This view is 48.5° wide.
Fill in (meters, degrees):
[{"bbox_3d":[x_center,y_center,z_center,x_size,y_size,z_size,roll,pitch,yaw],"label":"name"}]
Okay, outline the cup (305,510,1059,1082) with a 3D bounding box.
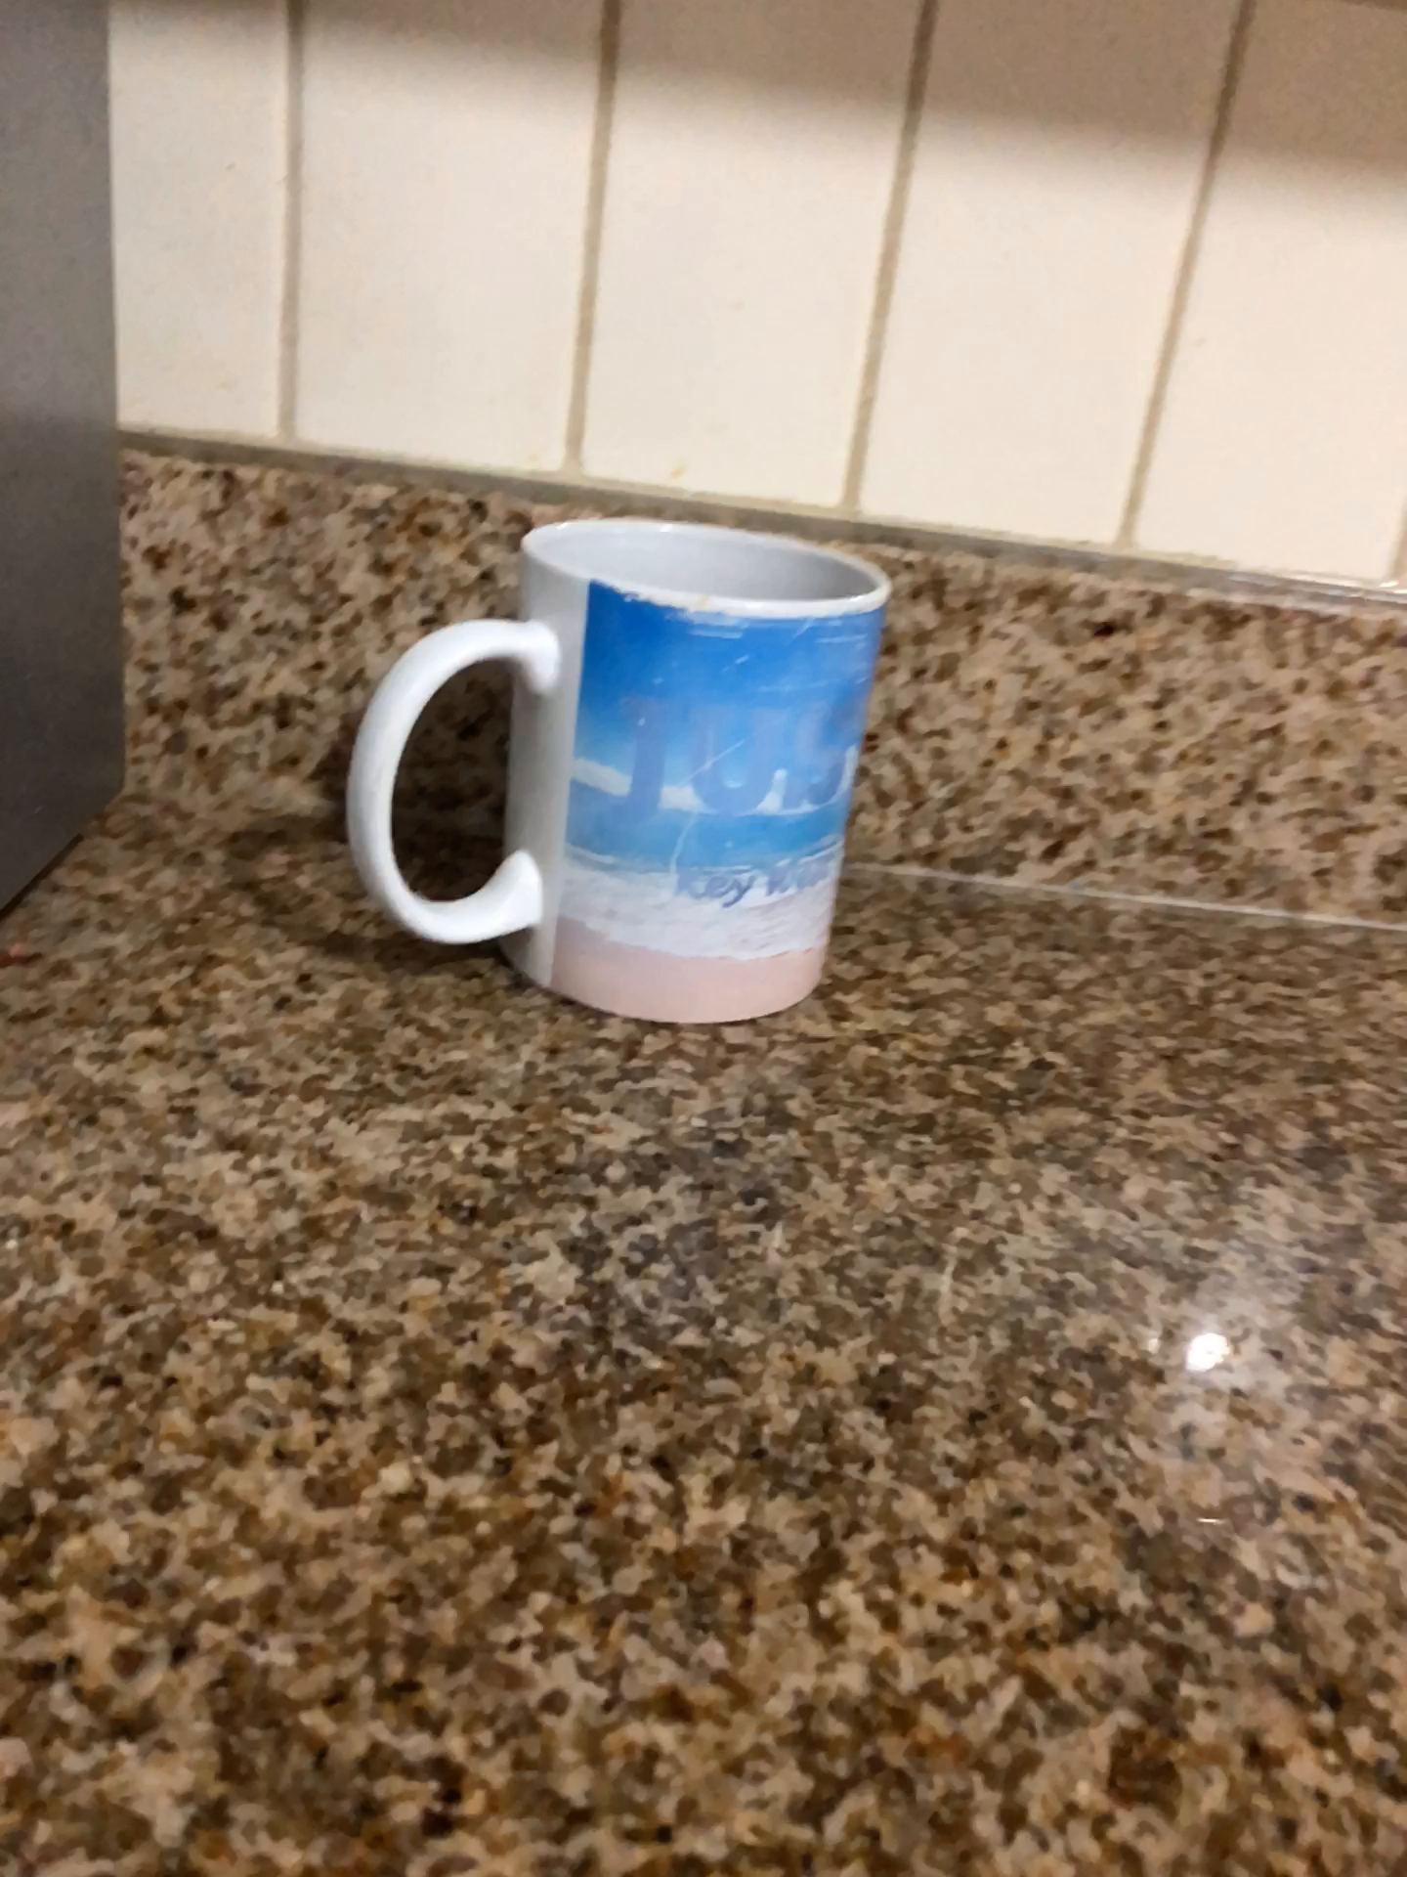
[{"bbox_3d":[-0.008,-0.039,0.346,0.130,0.090,0.090,-8,27,-34],"label":"cup"}]
